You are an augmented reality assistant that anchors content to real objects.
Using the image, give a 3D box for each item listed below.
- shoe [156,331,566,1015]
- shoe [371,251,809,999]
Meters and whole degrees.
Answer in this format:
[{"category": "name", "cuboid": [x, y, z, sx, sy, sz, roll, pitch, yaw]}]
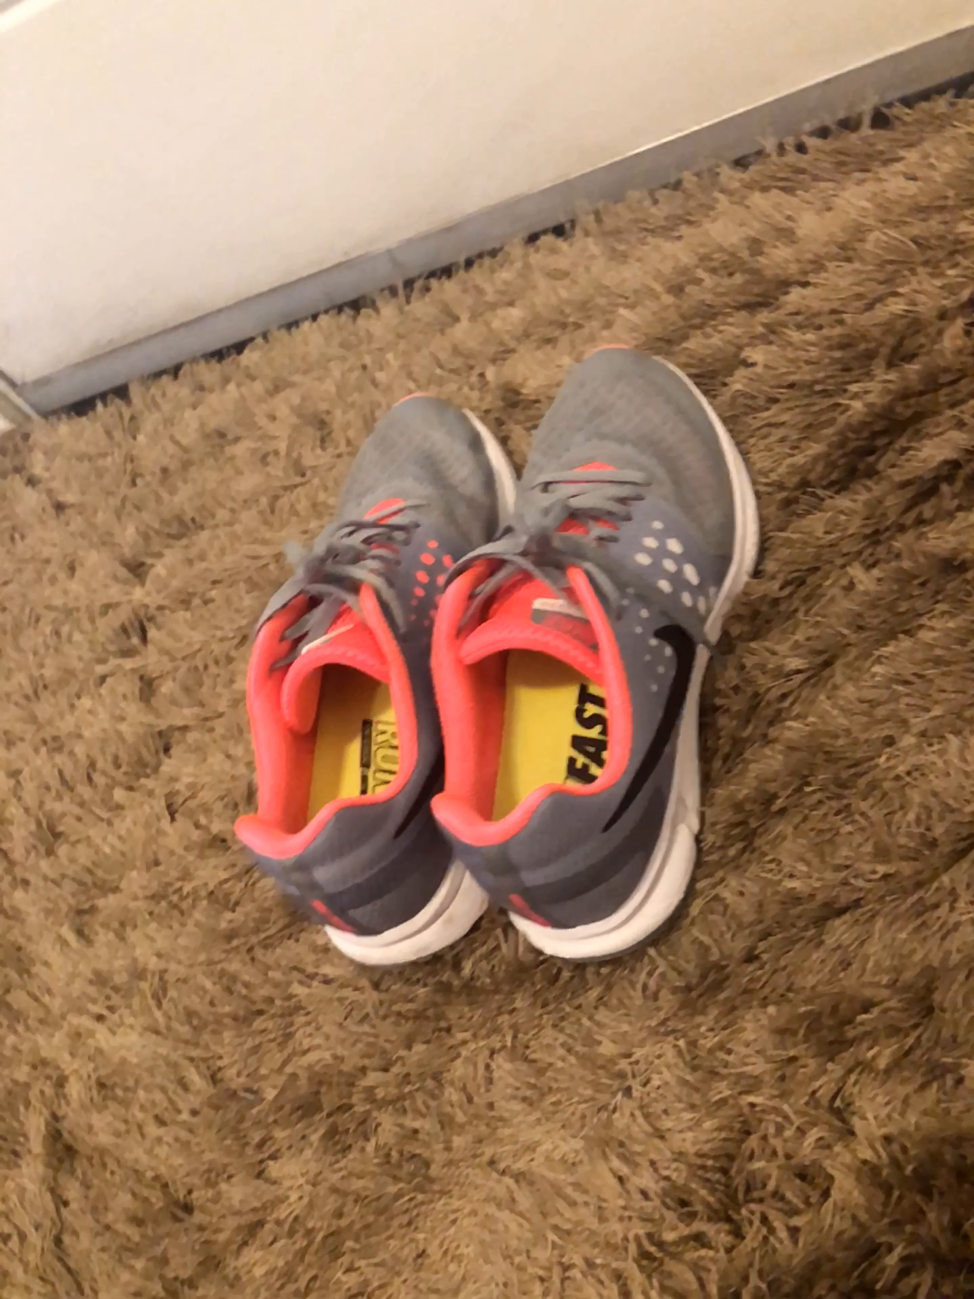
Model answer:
[{"category": "shoe", "cuboid": [-0.043, 0.008, 0.491, 0.114, 0.121, 0.270, -13, 55, 20]}, {"category": "shoe", "cuboid": [0.052, -0.010, 0.441, 0.119, 0.119, 0.270, -9, 57, 23]}]
